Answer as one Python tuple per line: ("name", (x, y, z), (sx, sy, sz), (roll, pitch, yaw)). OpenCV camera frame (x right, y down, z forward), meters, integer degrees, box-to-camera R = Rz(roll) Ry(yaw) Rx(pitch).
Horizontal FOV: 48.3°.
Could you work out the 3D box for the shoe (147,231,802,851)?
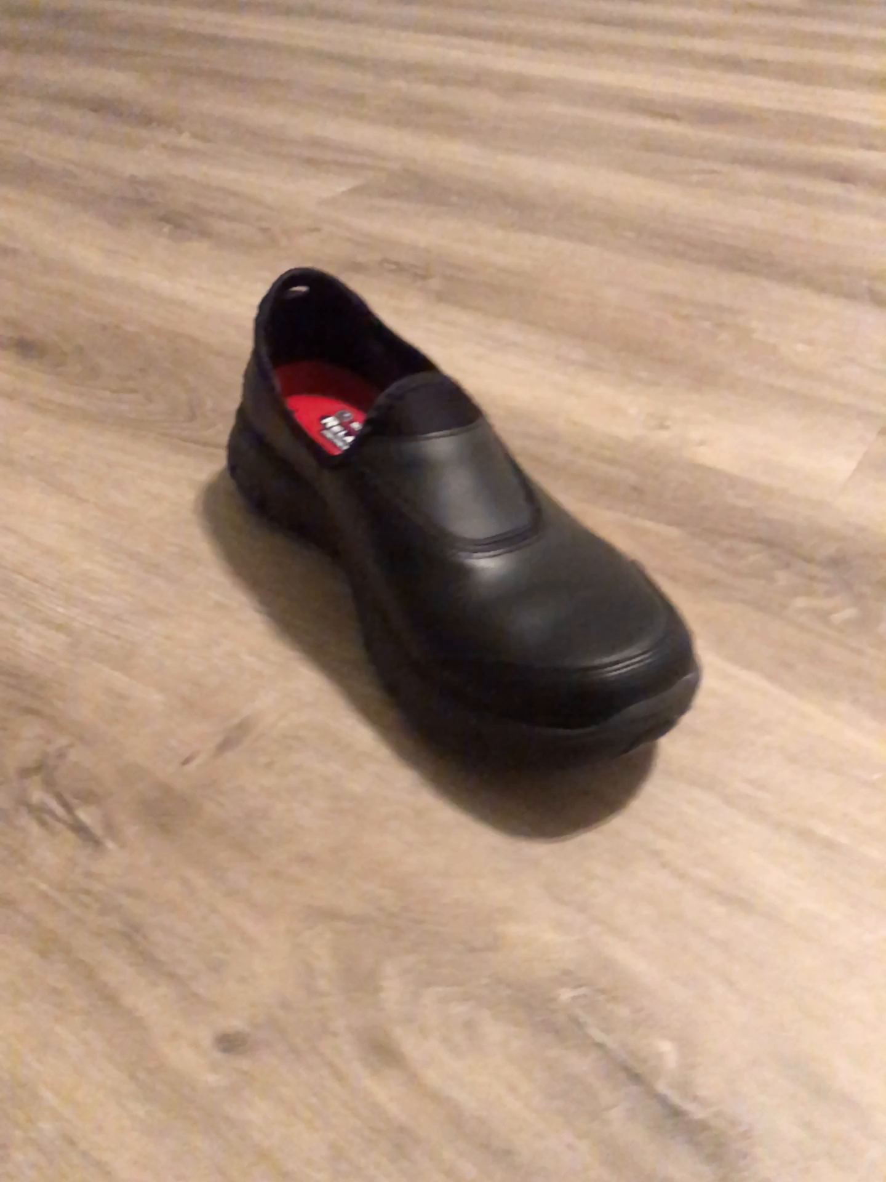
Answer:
("shoe", (-0.009, -0.040, 0.347), (0.090, 0.090, 0.241), (-23, 43, -25))
